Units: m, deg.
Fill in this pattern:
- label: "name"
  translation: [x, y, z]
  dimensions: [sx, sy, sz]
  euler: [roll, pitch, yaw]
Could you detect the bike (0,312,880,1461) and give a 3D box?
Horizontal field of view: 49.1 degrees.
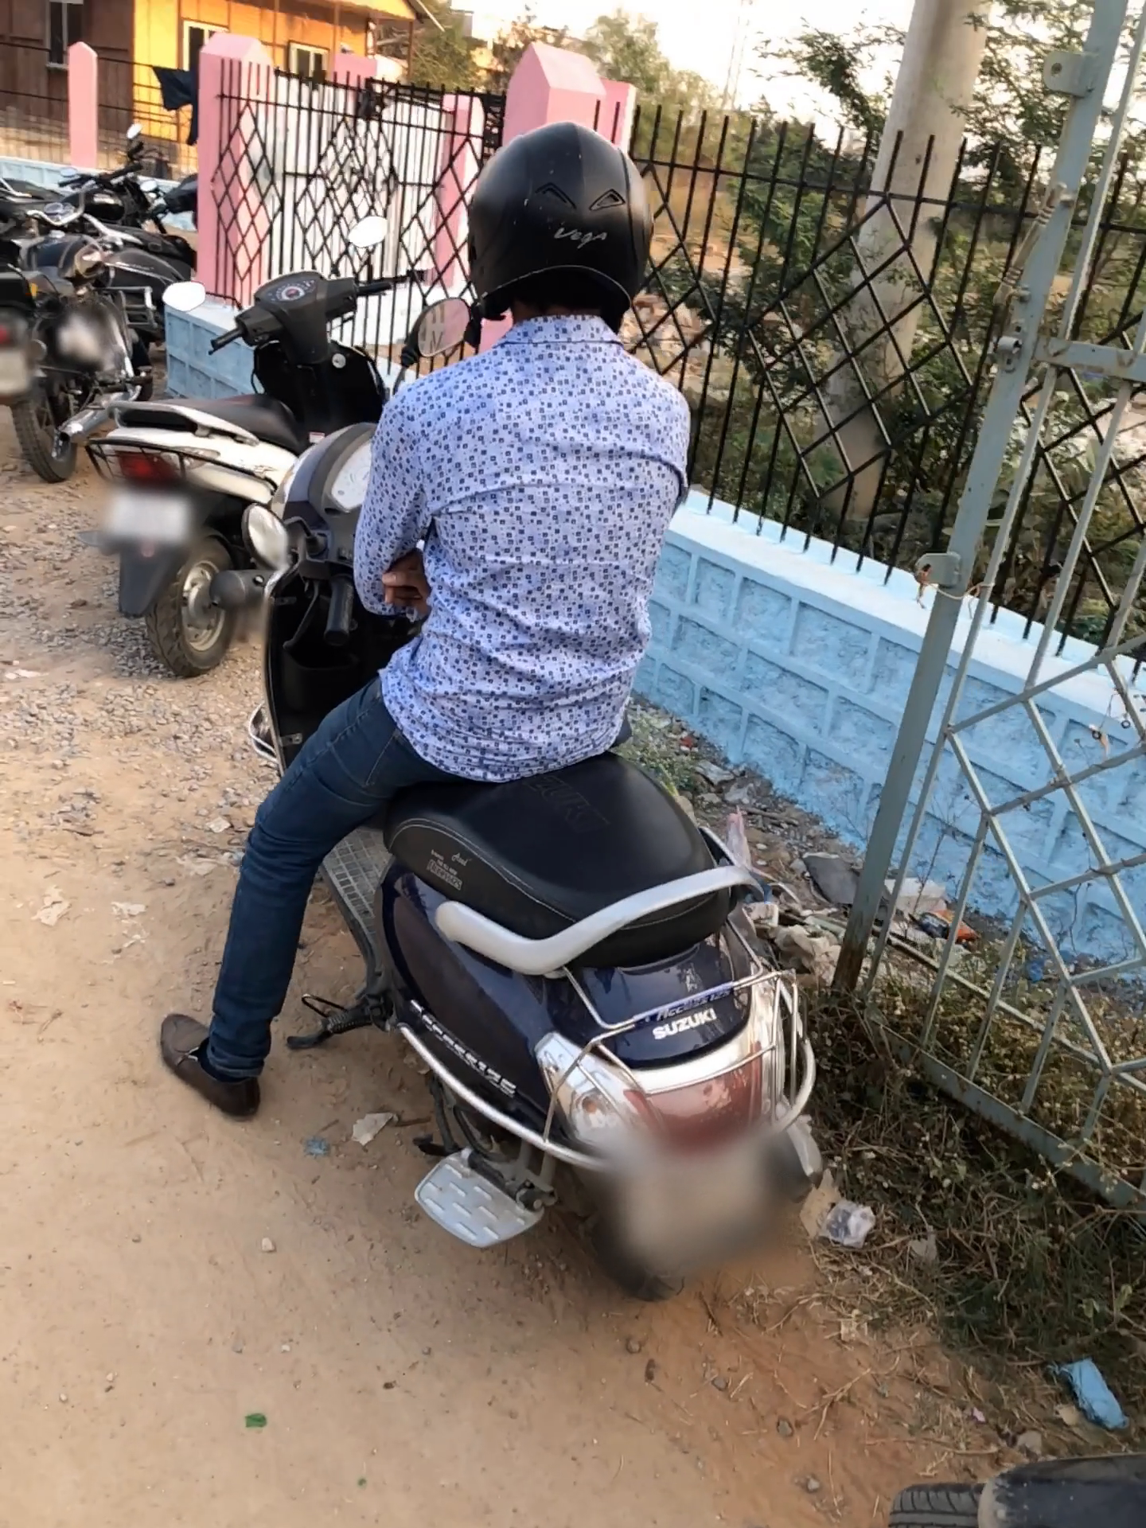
- label: "bike"
  translation: [-0.400, 0.066, 1.975]
  dimensions: [0.595, 1.014, 1.396]
  euler: [-10, 36, -35]
